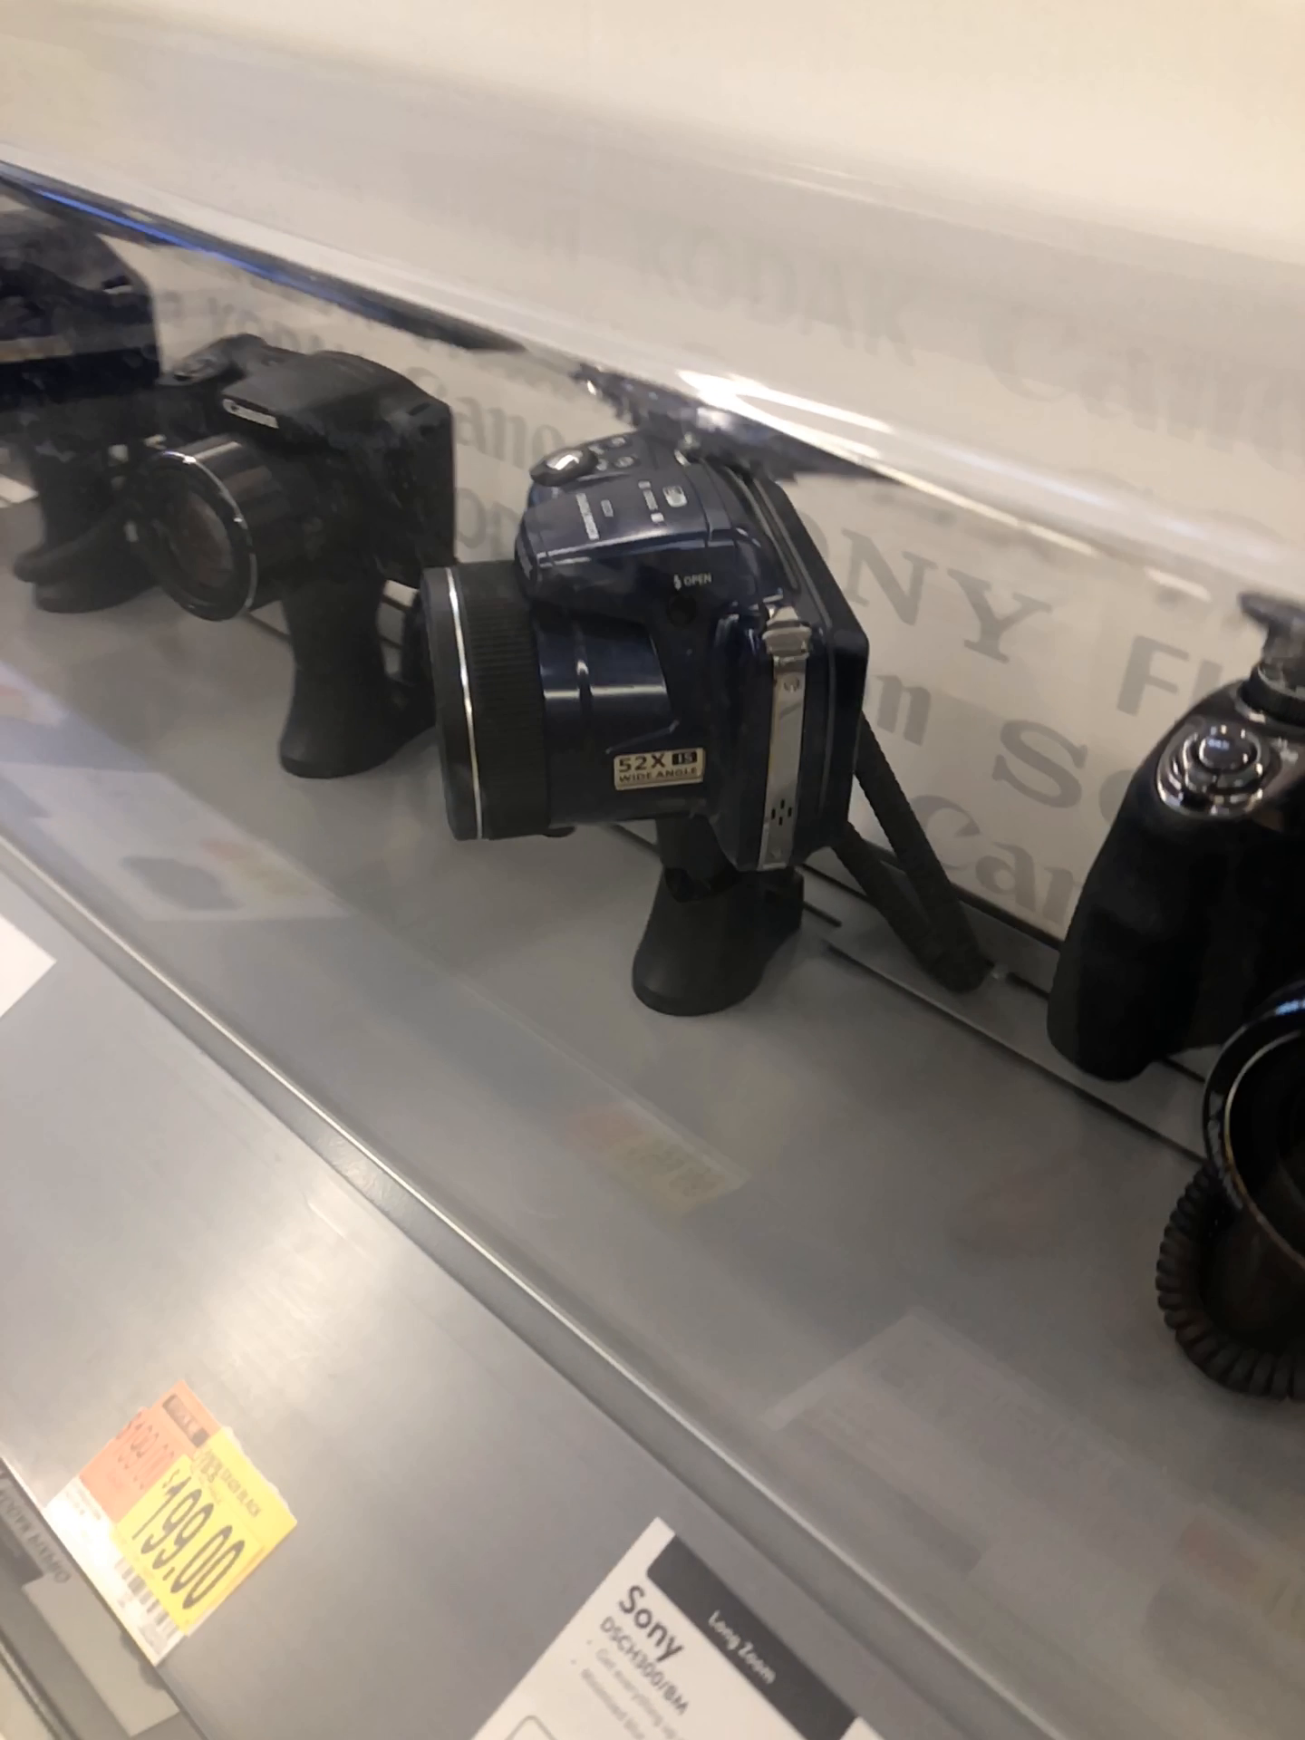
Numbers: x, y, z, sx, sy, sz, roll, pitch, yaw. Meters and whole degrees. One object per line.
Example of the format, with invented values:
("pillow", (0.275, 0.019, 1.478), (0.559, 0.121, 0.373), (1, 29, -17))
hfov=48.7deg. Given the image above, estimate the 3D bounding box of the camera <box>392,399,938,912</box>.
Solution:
("camera", (-0.008, -0.062, 0.382), (0.110, 0.080, 0.131), (-2, 35, -14))
